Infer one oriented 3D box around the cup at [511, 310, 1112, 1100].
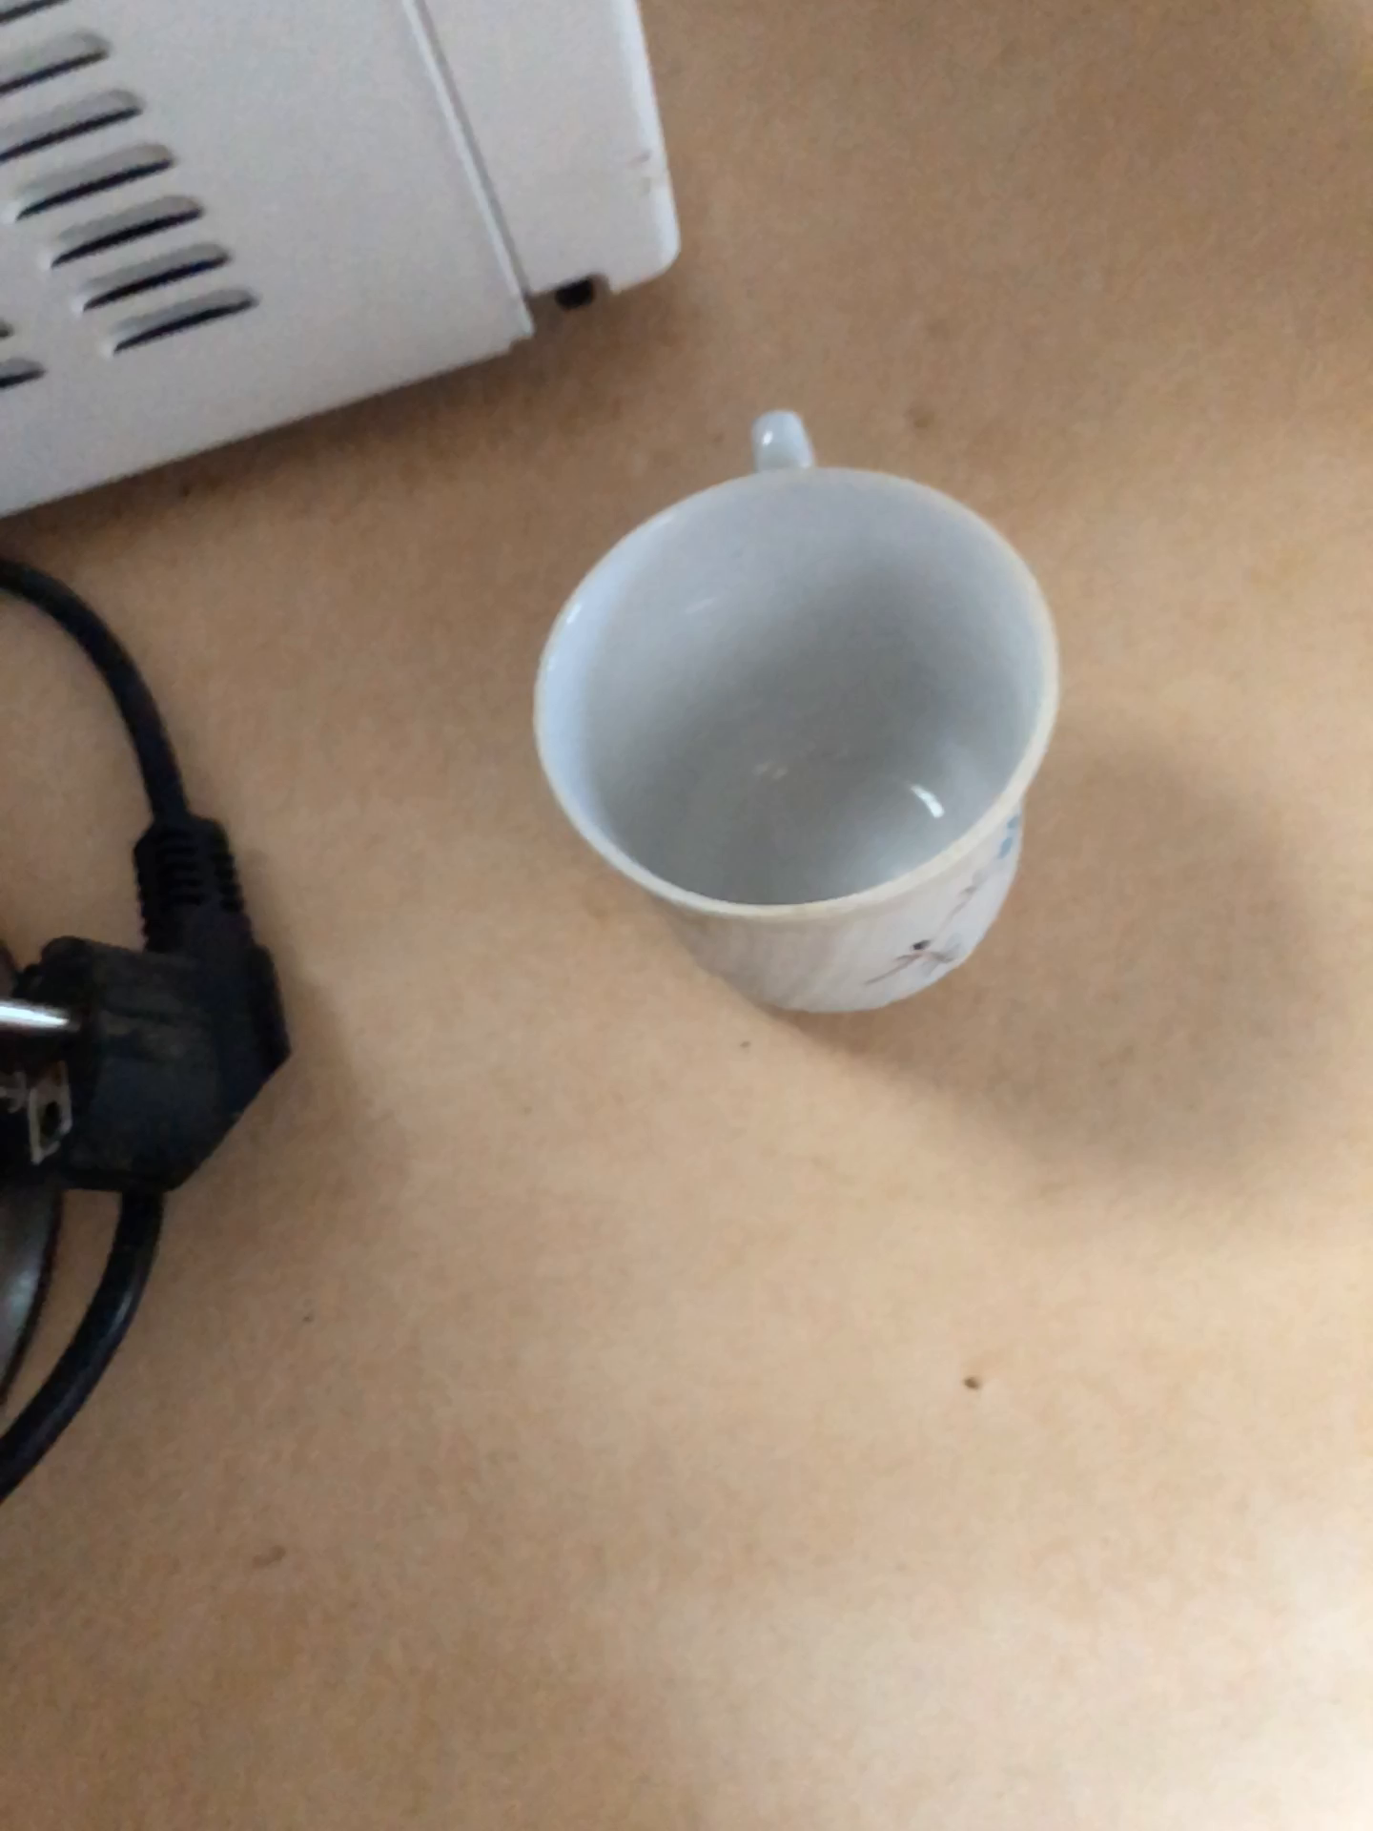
[{"bbox_3d":[0.017,-0.028,0.220,0.070,0.050,0.090,-7,65,9],"label":"cup"}]
